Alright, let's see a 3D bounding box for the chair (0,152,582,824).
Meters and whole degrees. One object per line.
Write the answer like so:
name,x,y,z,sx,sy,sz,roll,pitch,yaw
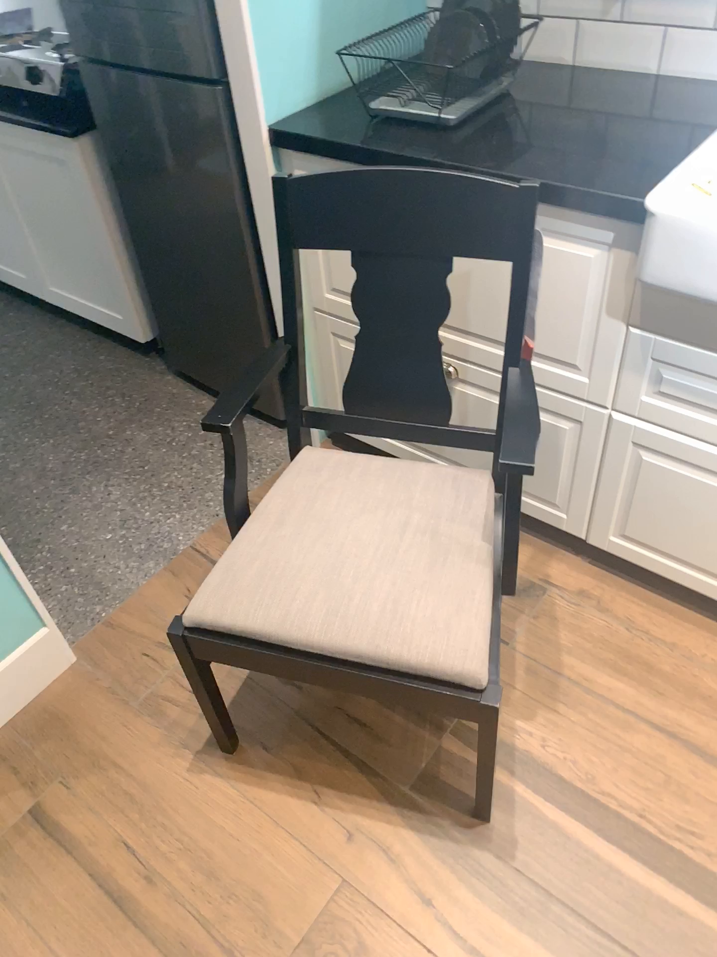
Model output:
chair,0.000,0.027,1.221,0.570,0.886,0.592,8,45,16
